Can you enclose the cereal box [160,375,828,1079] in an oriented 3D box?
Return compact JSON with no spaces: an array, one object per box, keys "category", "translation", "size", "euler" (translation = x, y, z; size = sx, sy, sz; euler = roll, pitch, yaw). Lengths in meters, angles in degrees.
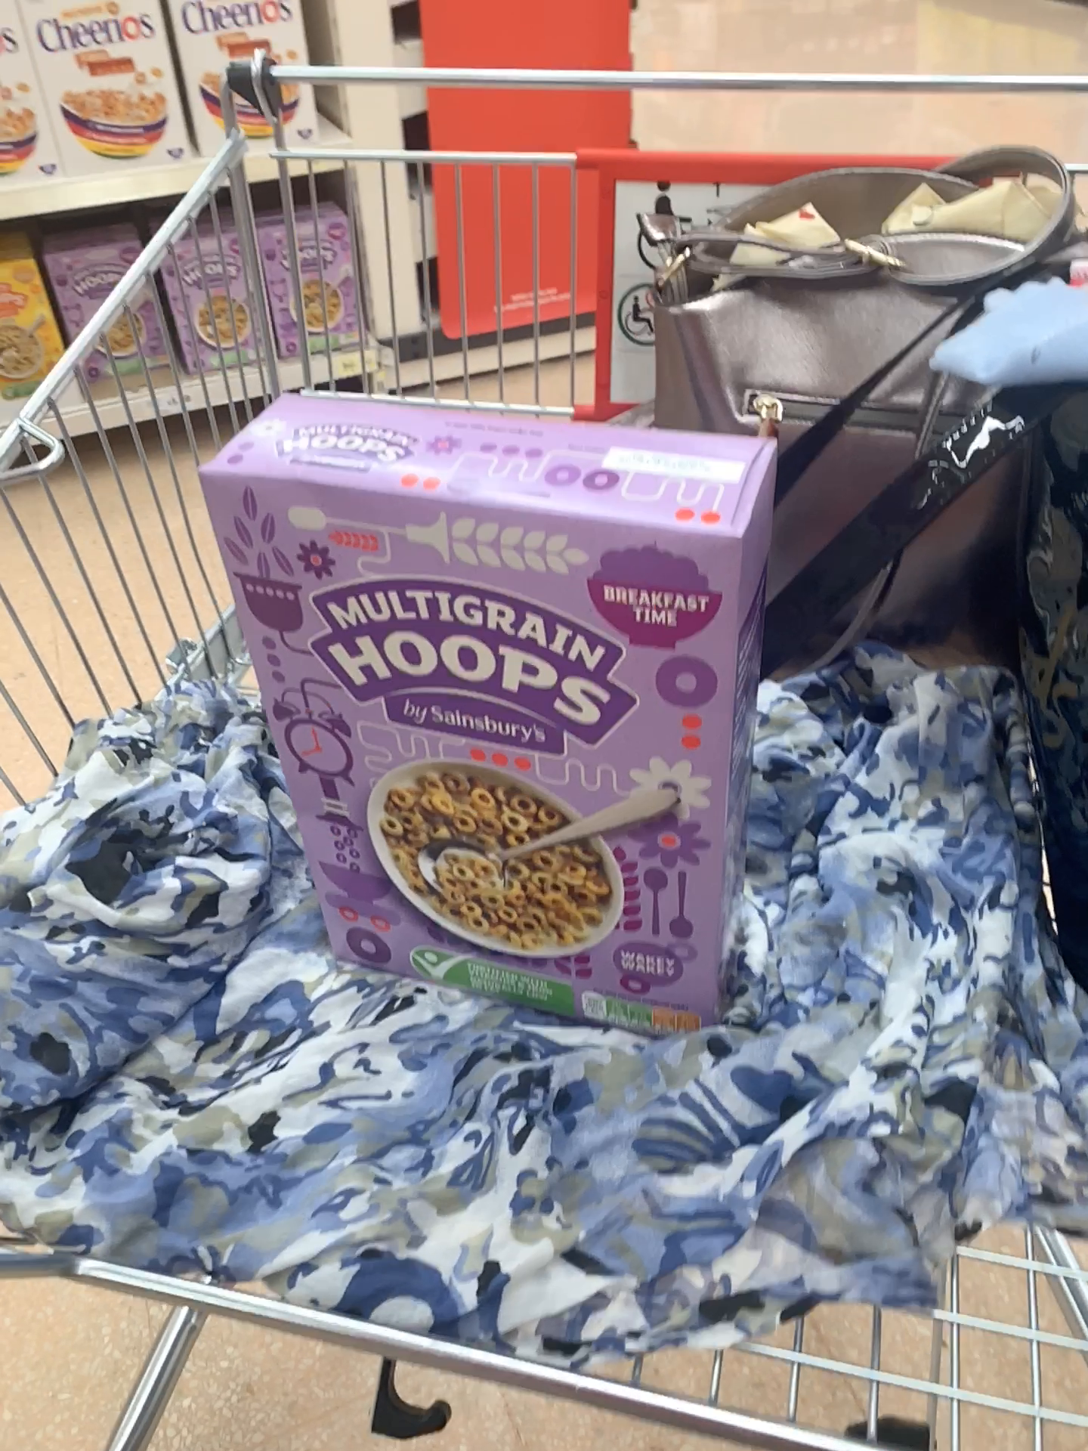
[{"category":"cereal box","translation":[-0.012,0.010,0.453],"size":[0.210,0.267,0.071],"euler":[11,41,16]}]
